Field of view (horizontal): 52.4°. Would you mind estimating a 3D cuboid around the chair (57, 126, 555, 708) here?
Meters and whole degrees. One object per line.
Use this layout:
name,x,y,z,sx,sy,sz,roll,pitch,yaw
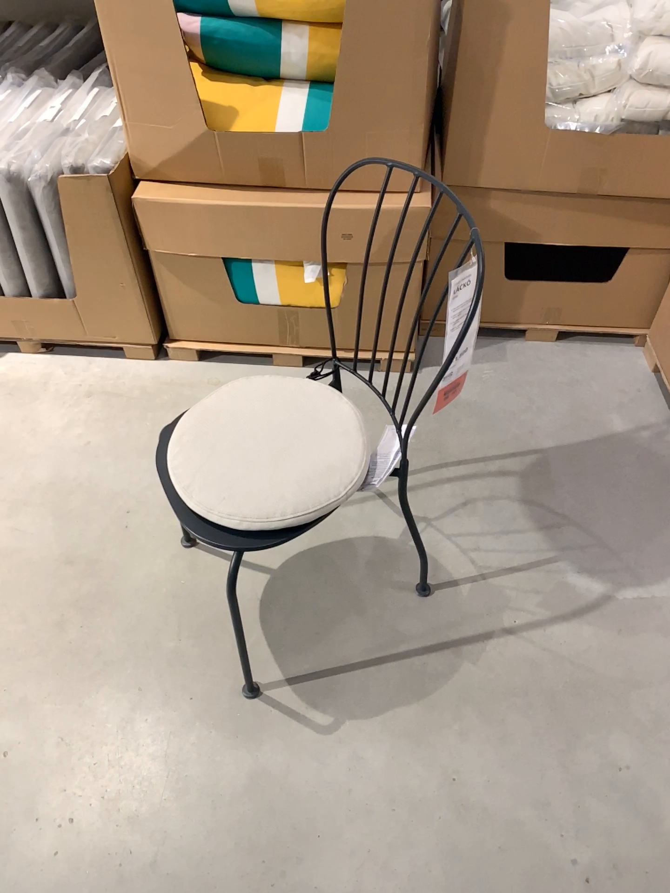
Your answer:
chair,-0.062,-0.015,1.222,0.520,0.817,0.482,-20,51,-16
